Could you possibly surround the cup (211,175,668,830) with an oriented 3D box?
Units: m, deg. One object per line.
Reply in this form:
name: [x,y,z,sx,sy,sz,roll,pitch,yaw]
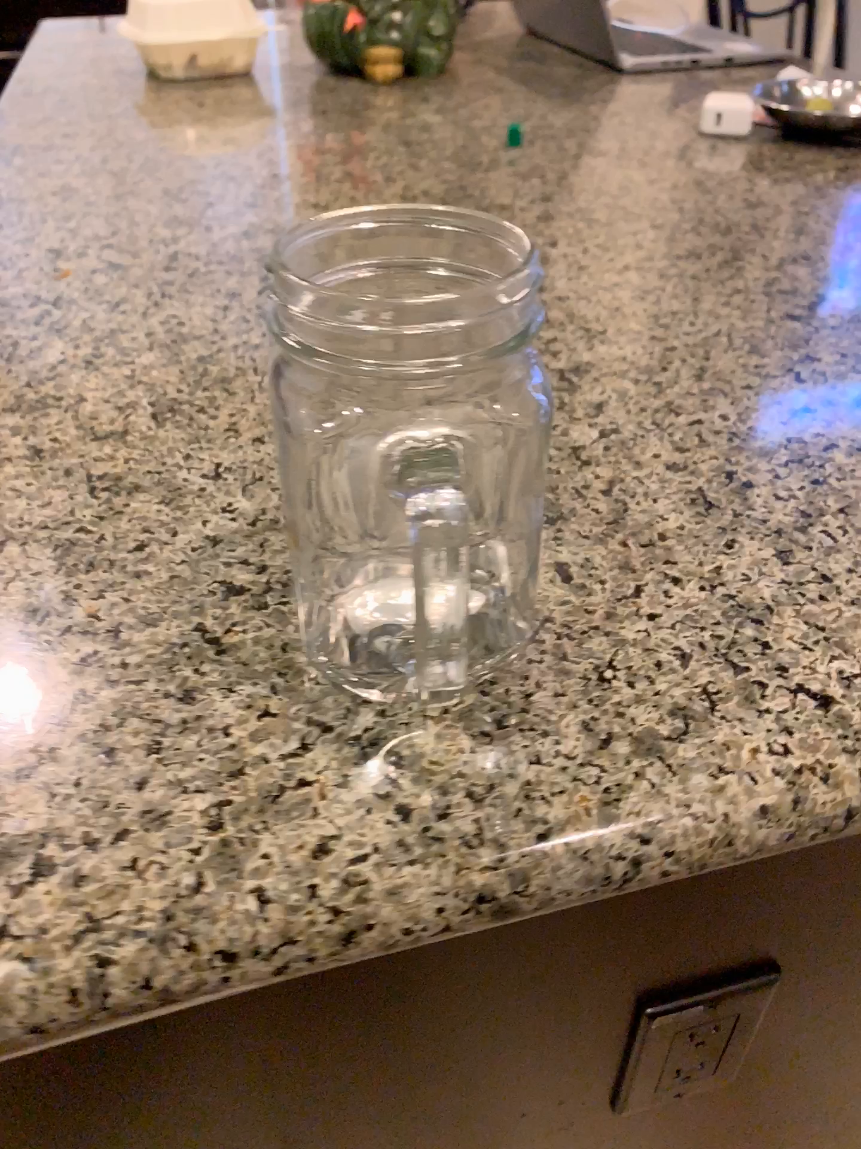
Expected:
cup: [-0.008,-0.025,0.240,0.080,0.119,0.121,-8,40,-9]
